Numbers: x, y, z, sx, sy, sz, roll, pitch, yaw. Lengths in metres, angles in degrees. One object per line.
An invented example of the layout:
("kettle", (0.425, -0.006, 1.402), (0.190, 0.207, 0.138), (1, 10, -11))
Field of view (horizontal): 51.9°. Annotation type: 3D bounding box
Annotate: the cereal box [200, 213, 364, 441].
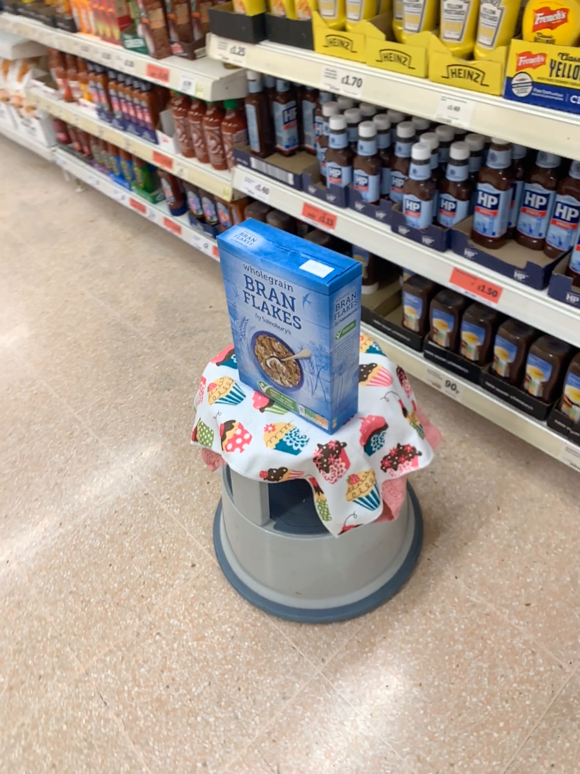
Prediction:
("cereal box", (-0.006, -0.083, 0.845), (0.211, 0.258, 0.080), (30, 53, 32))
